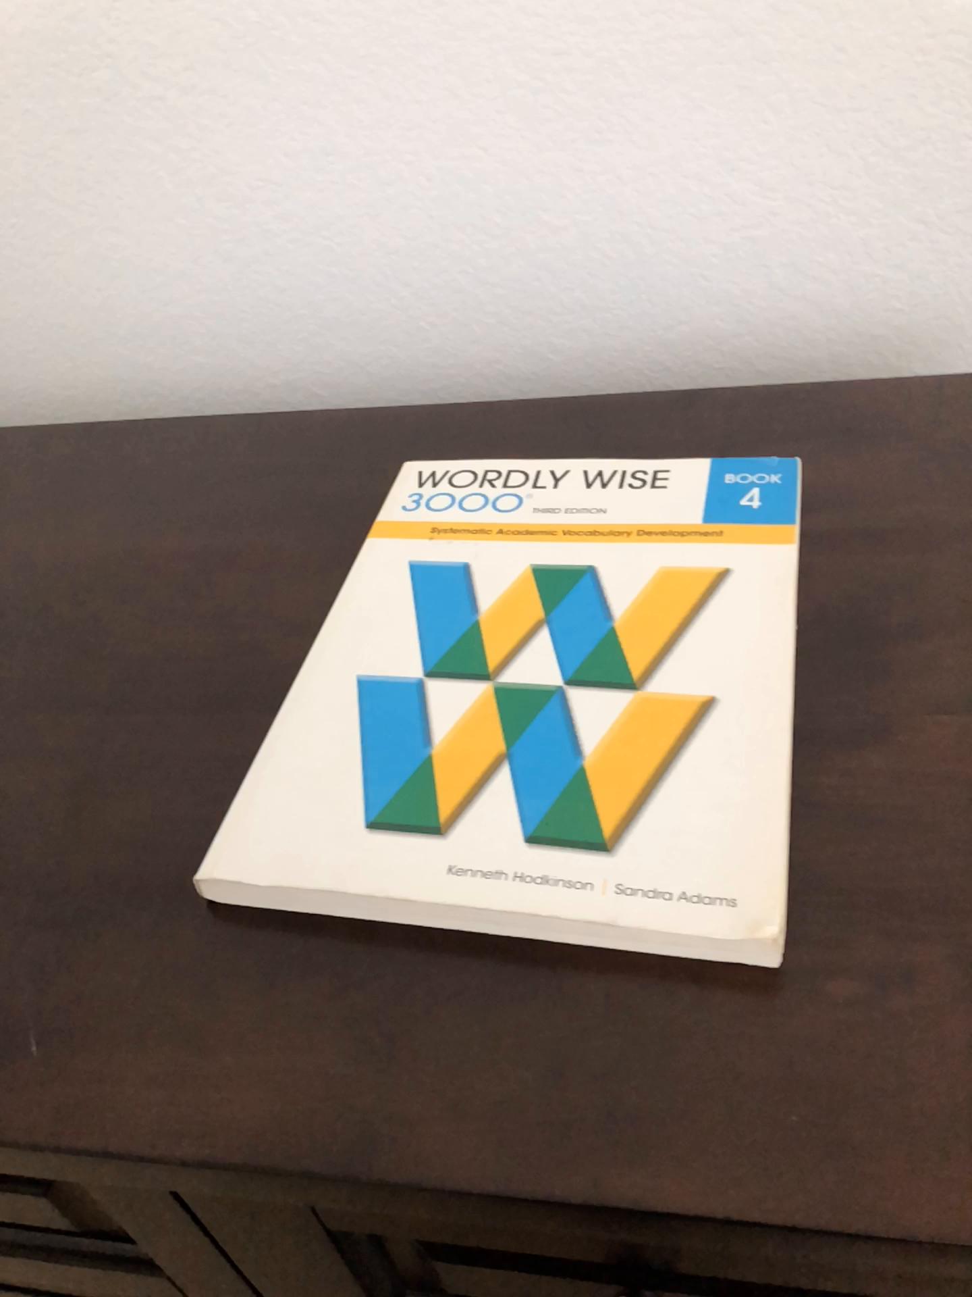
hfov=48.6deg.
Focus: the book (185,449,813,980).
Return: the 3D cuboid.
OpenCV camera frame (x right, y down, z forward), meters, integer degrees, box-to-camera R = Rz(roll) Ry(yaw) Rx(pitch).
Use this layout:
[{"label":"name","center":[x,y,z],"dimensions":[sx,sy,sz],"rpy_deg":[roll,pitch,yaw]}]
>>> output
[{"label":"book","center":[0.026,0.000,0.468],"dimensions":[0.217,0.020,0.275],"rpy_deg":[3,45,16]}]
